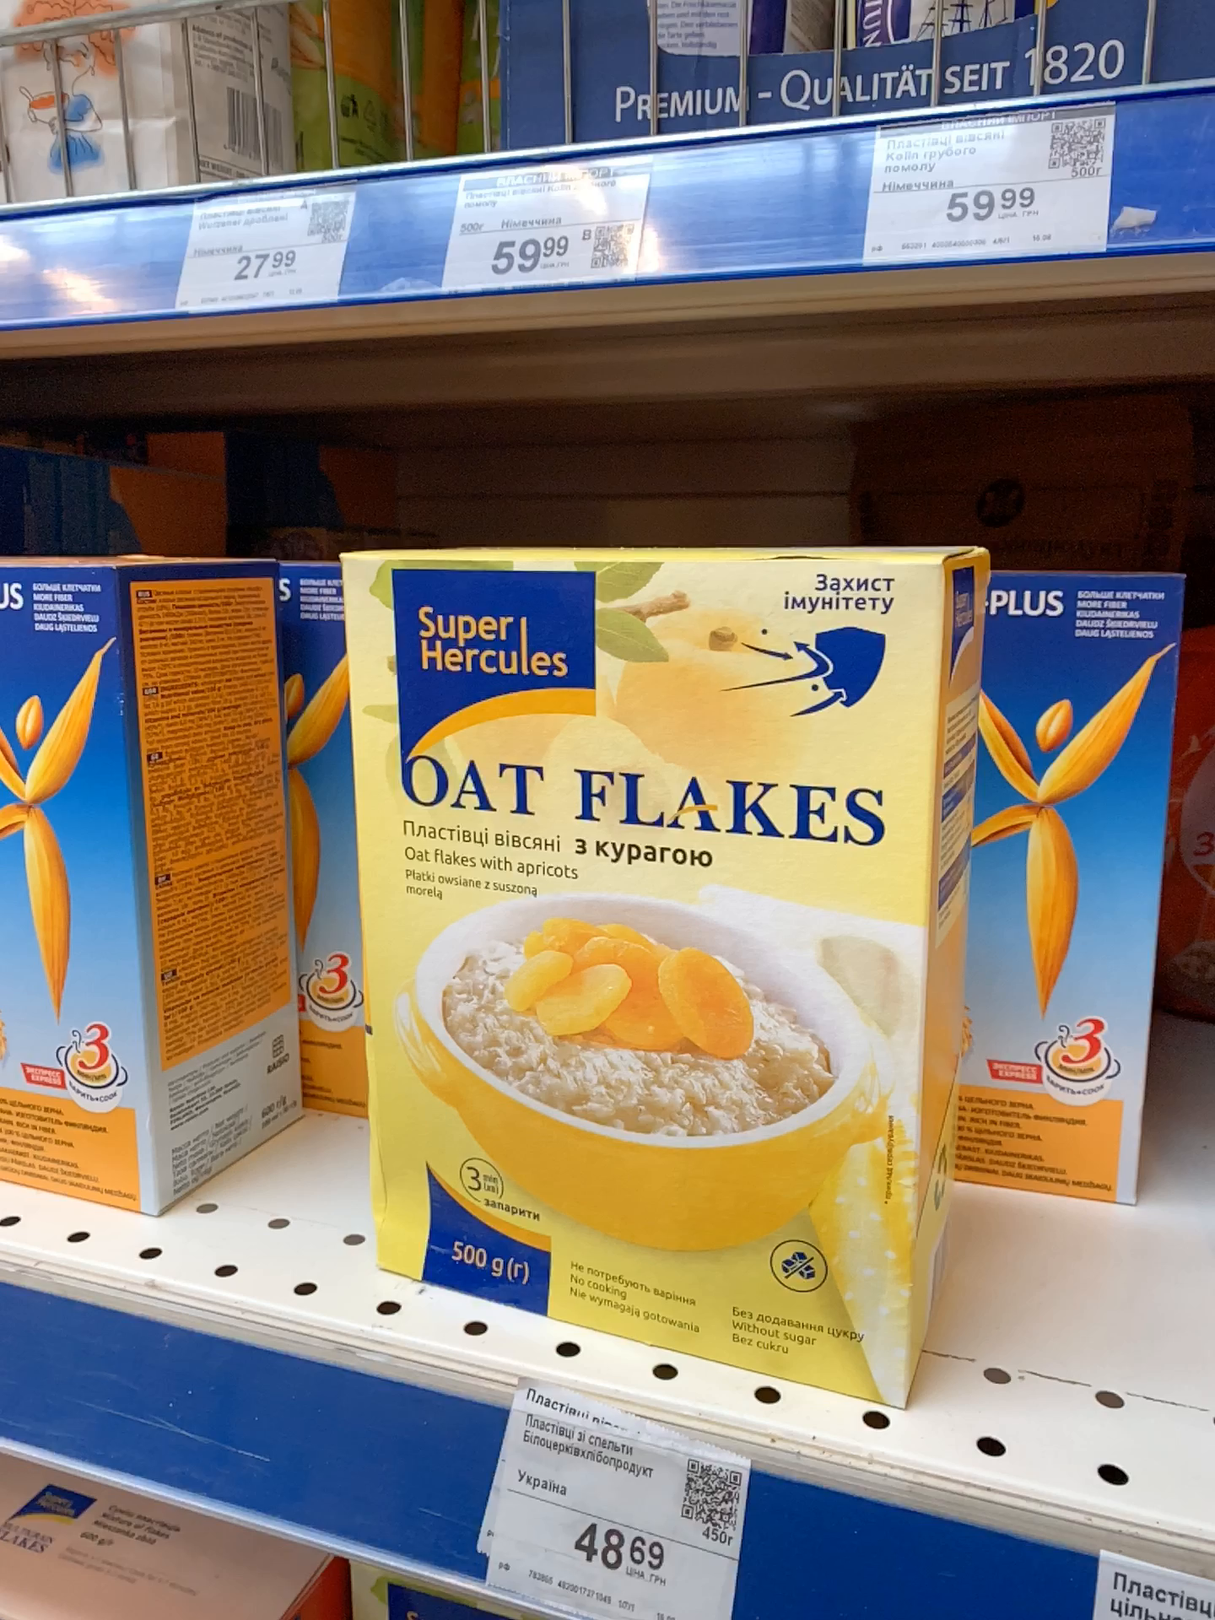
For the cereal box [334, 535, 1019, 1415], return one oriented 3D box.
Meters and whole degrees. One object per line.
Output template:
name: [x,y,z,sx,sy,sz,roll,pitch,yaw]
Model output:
cereal box: [0.016,0.028,0.316,0.150,0.189,0.060,5,12,23]
